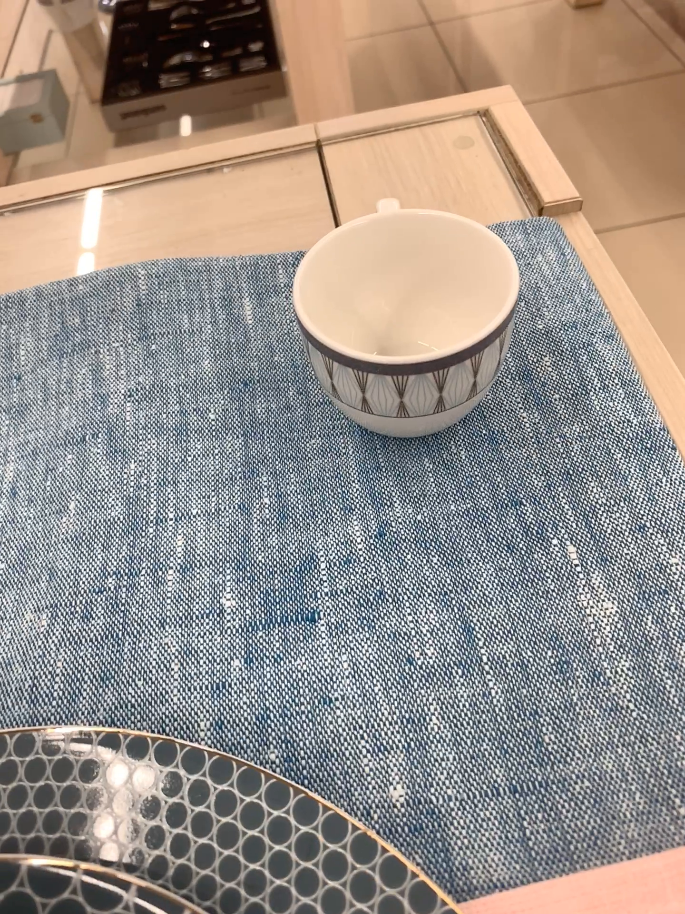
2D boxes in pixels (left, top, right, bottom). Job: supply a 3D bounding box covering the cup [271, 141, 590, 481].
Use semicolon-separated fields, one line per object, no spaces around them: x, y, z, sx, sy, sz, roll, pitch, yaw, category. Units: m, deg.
0.022;-0.048;0.219;0.070;0.040;0.090;-13;53;0;cup
